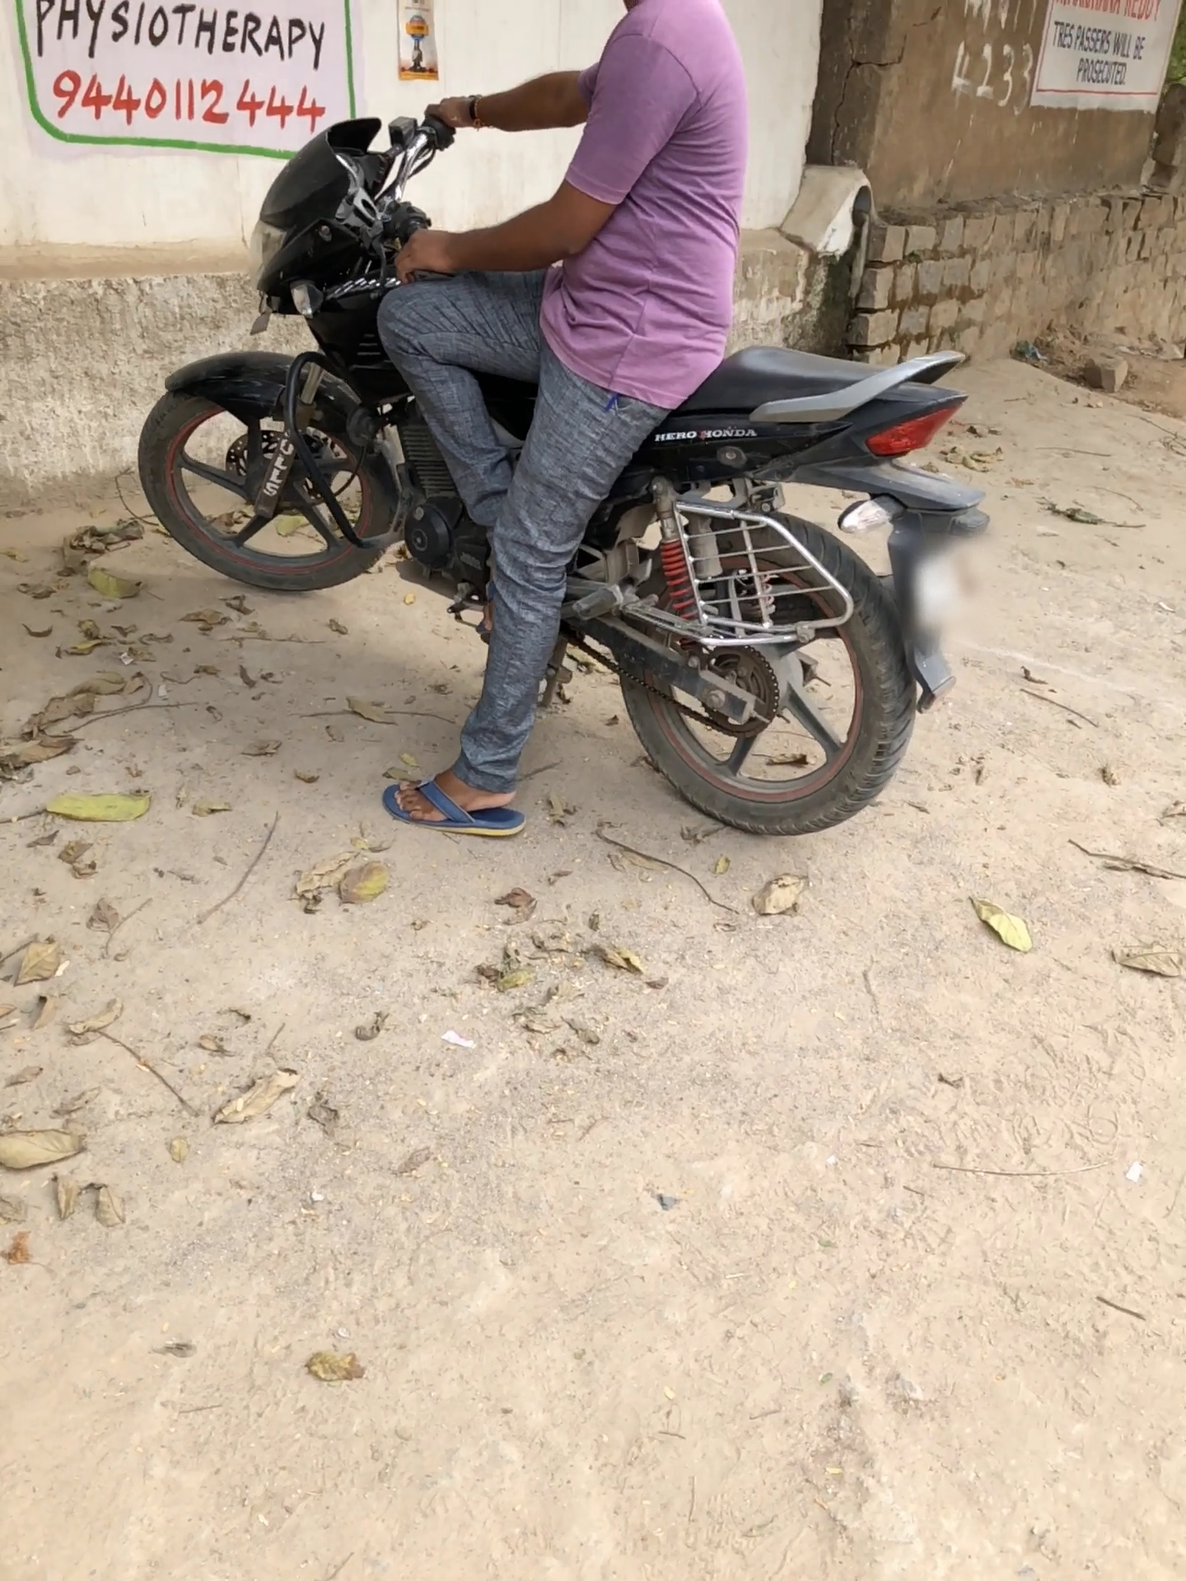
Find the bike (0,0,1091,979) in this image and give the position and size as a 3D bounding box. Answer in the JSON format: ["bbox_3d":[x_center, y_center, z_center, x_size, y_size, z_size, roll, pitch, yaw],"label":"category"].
[{"bbox_3d":[-0.243,-0.686,2.462,1.837,1.190,0.829,21,34,23],"label":"bike"}]
